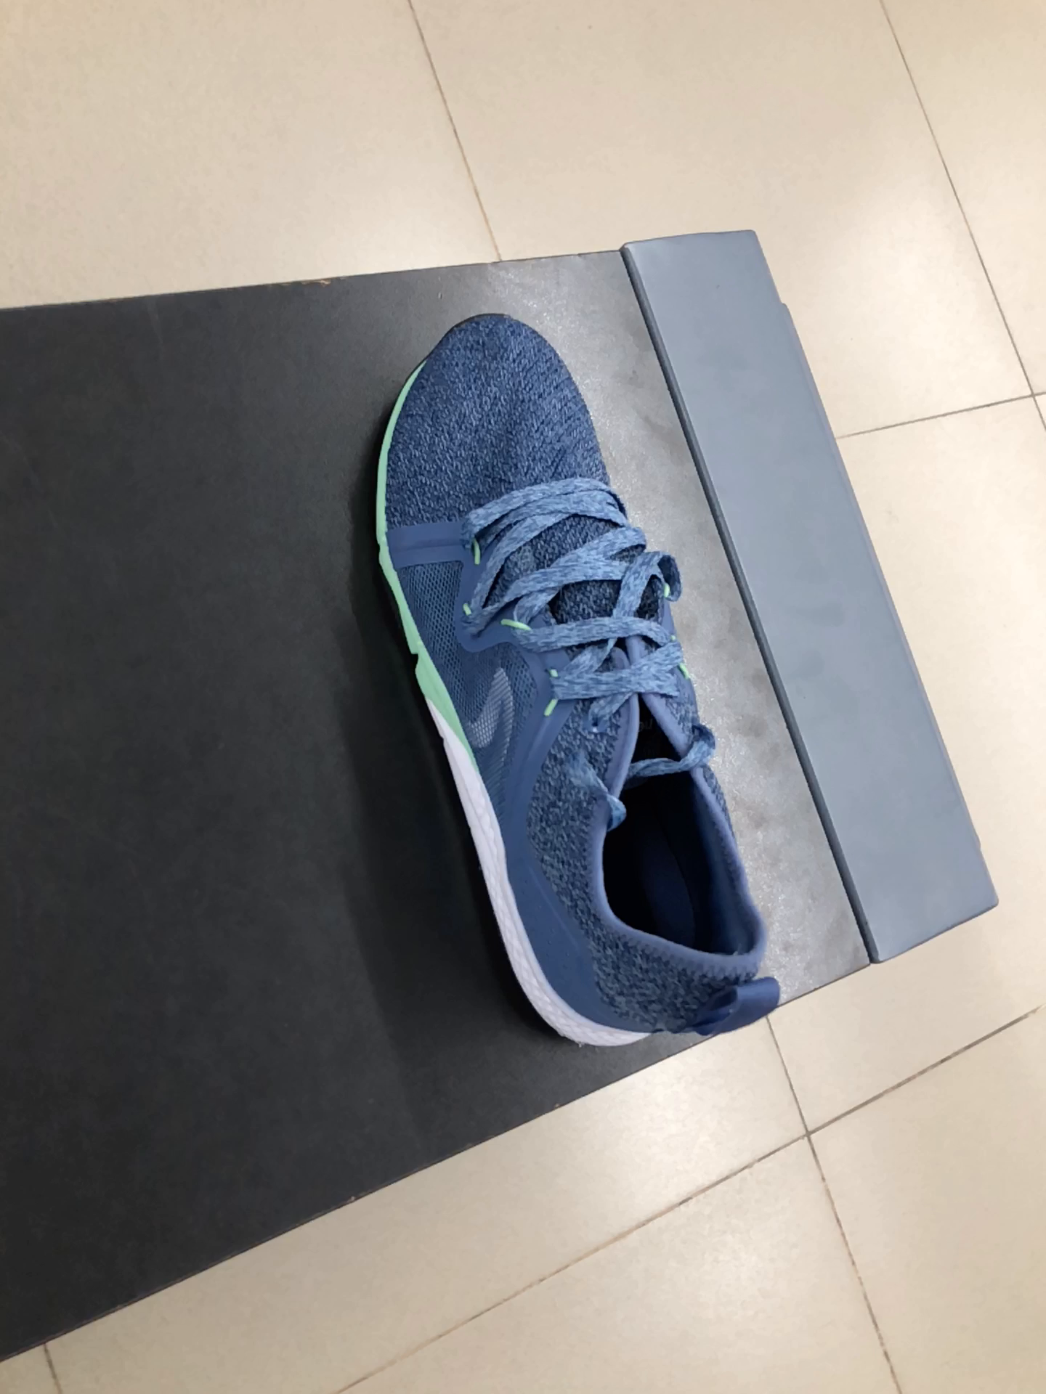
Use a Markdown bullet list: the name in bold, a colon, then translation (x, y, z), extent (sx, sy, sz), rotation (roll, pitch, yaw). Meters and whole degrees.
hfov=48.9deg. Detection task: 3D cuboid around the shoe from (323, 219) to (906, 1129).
- **shoe**: translation (0.024, -0.013, 0.399), extent (0.100, 0.080, 0.280), rotation (-14, 83, -25)
